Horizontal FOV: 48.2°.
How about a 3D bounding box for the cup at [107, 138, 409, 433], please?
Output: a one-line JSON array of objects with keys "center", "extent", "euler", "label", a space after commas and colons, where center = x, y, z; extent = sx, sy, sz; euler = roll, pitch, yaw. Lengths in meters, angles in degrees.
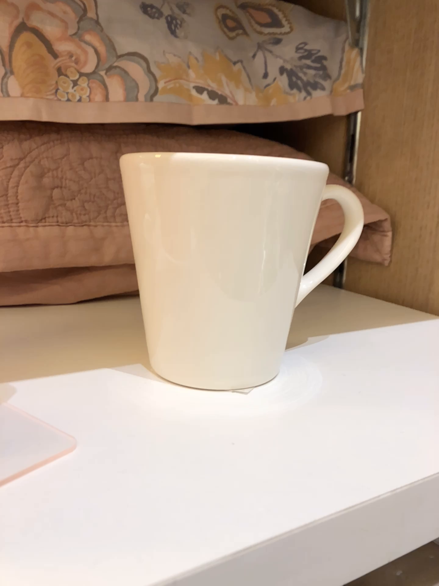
[{"center": [0.017, -0.013, 0.228], "extent": [0.110, 0.100, 0.080], "euler": [-7, 15, -40], "label": "cup"}]
